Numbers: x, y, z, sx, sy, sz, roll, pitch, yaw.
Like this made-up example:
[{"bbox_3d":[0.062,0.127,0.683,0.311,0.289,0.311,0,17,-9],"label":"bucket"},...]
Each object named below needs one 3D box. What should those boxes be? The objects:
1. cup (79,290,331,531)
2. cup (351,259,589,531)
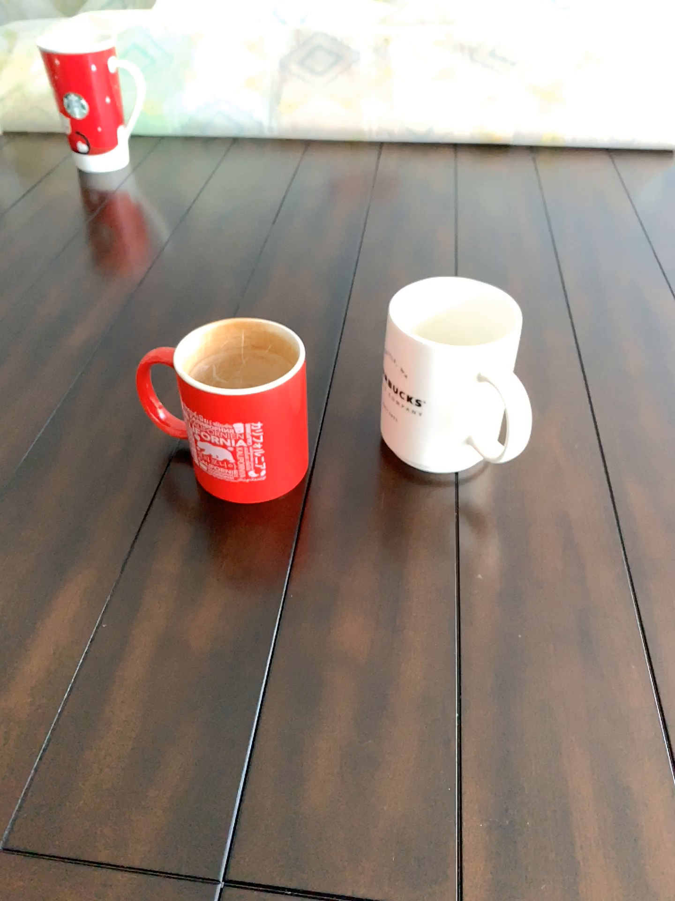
[{"bbox_3d":[-0.082,-0.030,0.476,0.130,0.100,0.090,17,45,18],"label":"cup"},{"bbox_3d":[0.078,-0.041,0.467,0.080,0.110,0.131,-20,46,-21],"label":"cup"}]
